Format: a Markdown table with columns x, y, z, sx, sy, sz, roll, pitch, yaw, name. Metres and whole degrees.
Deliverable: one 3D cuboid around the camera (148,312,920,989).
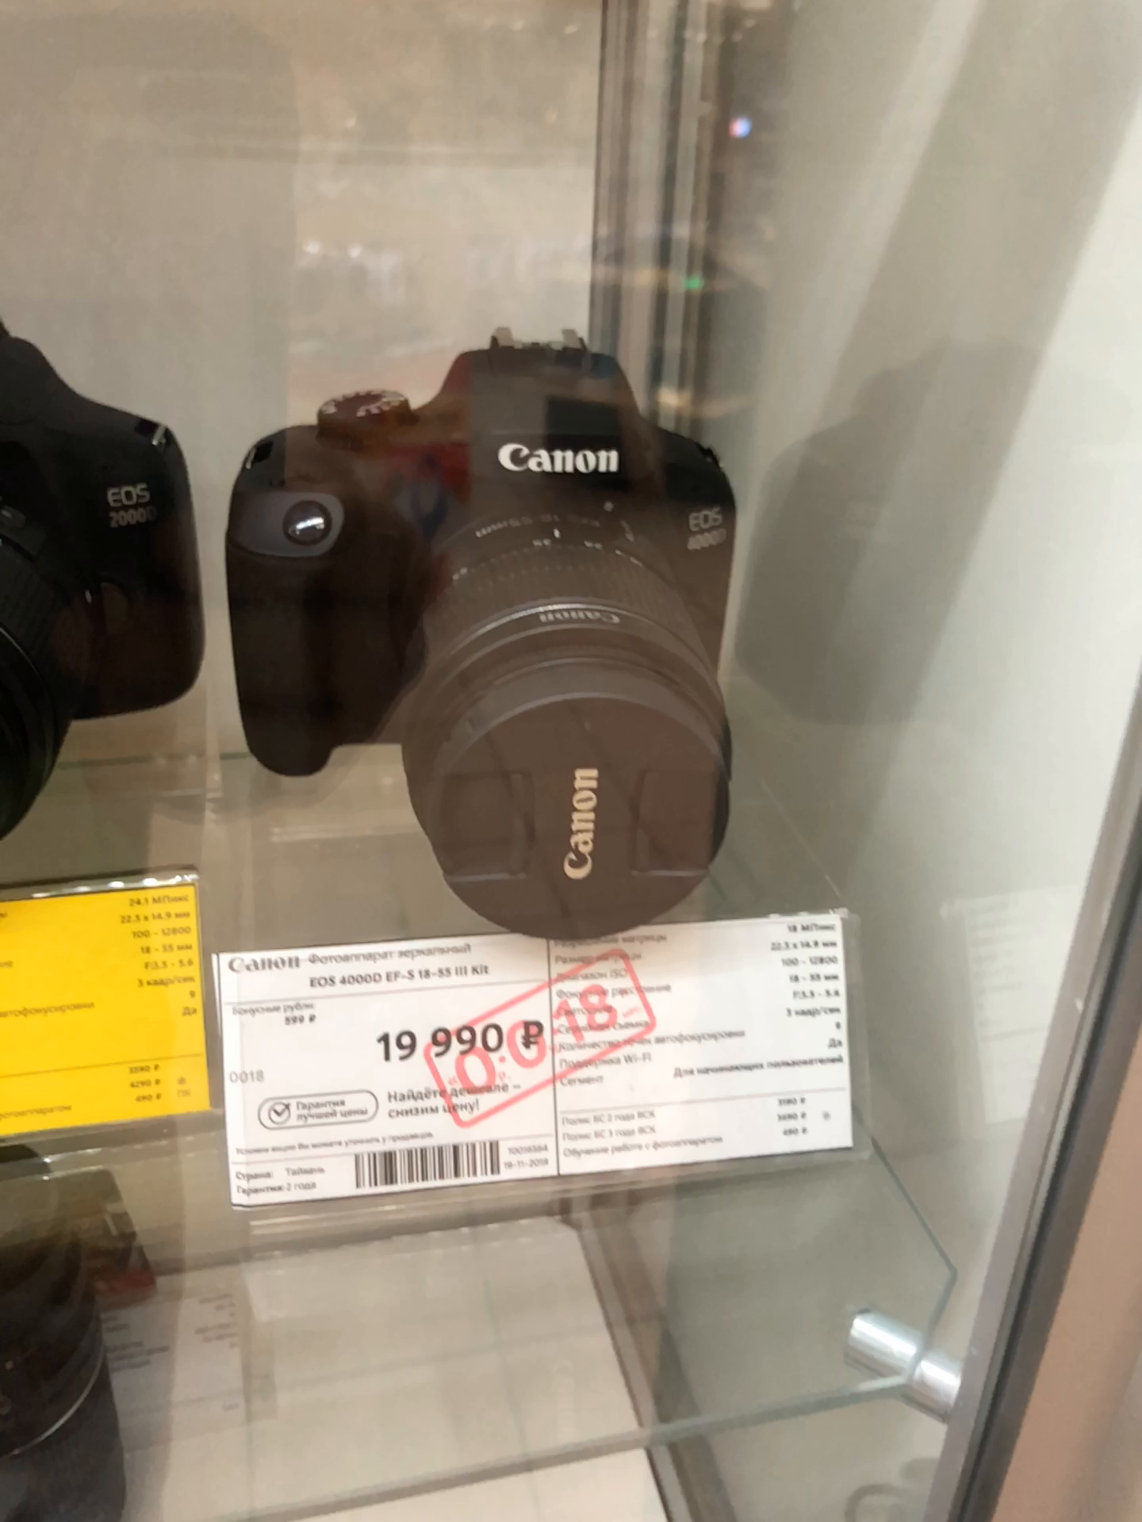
| x | y | z | sx | sy | sz | roll | pitch | yaw | name |
| --- | --- | --- | --- | --- | --- | --- | --- | --- | --- |
| -0.019 | -0.039 | 0.290 | 0.125 | 0.100 | 0.147 | -3 | 27 | -11 | camera |
